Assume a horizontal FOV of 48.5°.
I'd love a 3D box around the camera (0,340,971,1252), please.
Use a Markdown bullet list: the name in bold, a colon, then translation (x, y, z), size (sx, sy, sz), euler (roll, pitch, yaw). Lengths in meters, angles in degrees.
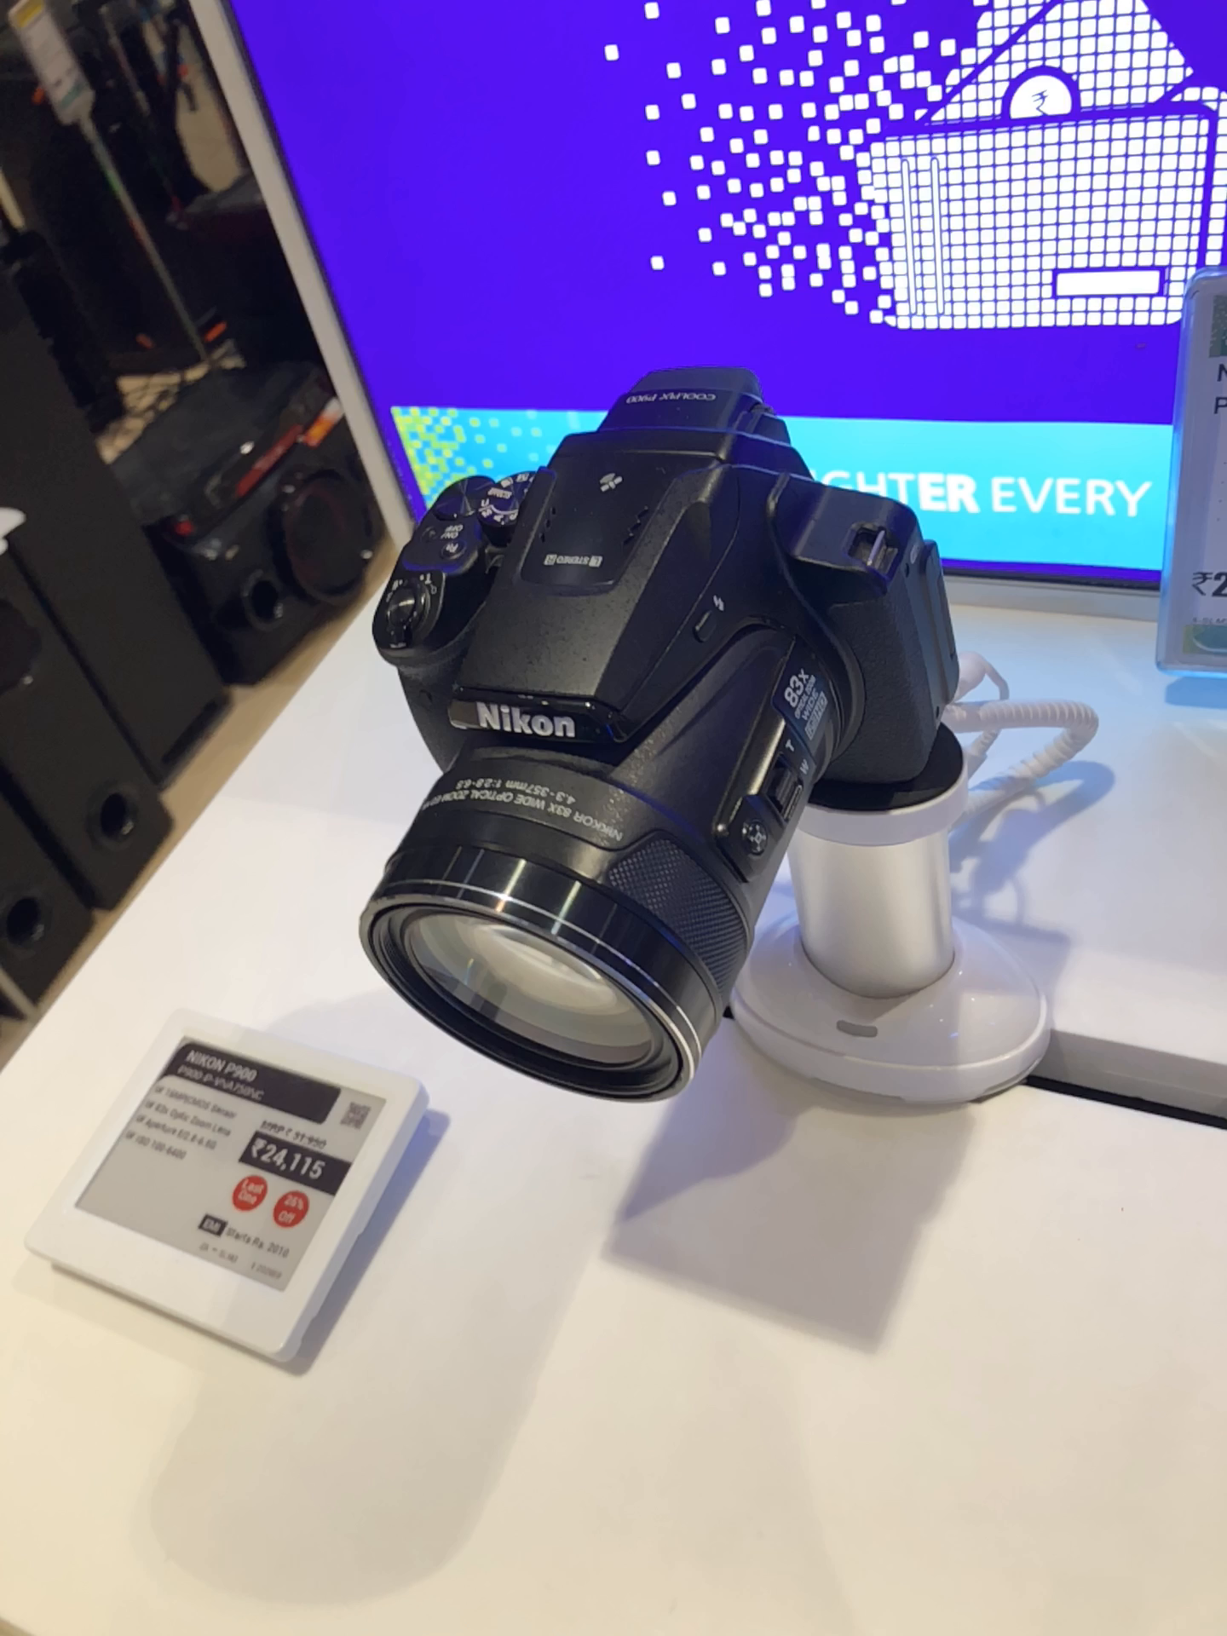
- **camera**: translation (-0.014, -0.016, 0.281), size (0.140, 0.099, 0.141), euler (9, 50, 24)
